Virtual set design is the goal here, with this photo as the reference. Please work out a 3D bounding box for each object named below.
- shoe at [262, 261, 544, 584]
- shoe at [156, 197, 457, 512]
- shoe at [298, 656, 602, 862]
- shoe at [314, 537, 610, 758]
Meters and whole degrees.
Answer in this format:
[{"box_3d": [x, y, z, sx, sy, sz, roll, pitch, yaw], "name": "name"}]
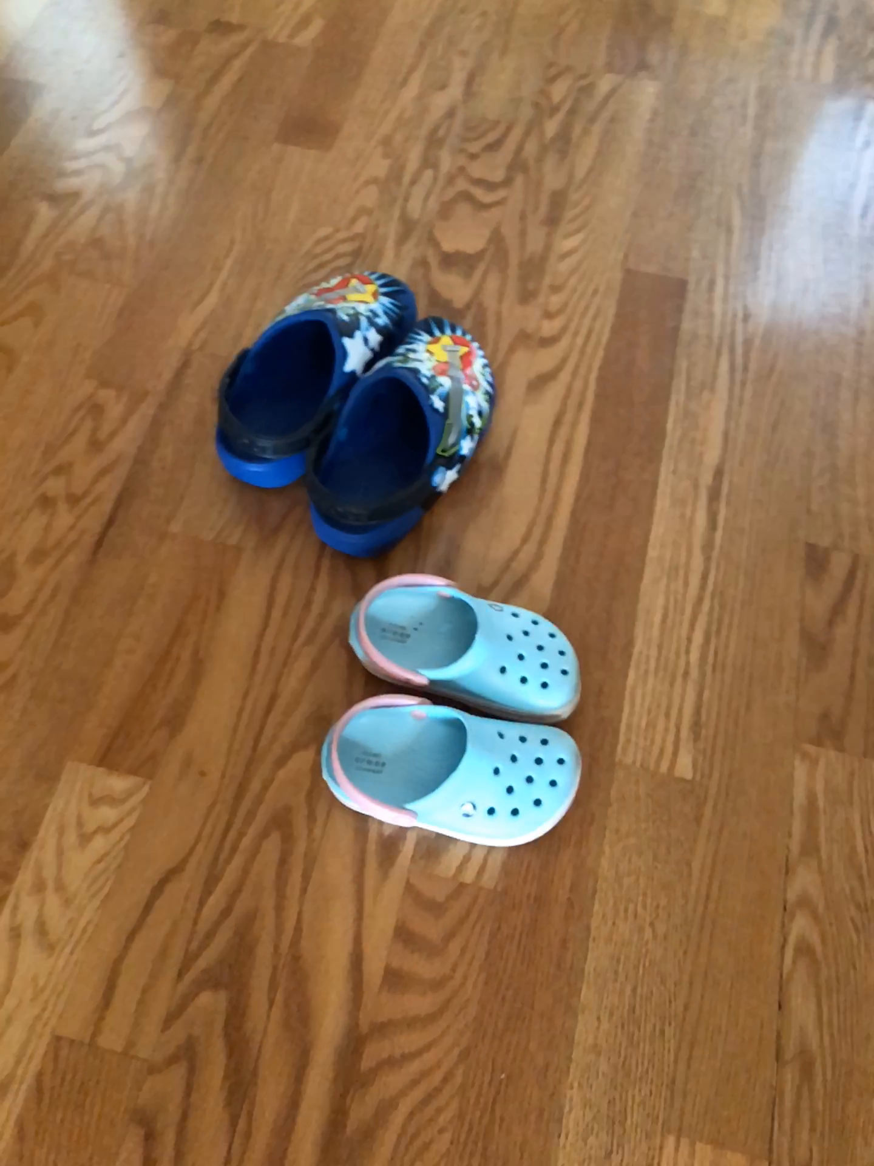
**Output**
[{"box_3d": [-0.019, -0.124, 0.712, 0.110, 0.070, 0.221, 24, 63, 12], "name": "shoe"}, {"box_3d": [-0.091, -0.180, 0.736, 0.110, 0.070, 0.231, 27, 63, 14], "name": "shoe"}, {"box_3d": [0.010, 0.108, 0.594, 0.170, 0.050, 0.090, 8, 61, 3], "name": "shoe"}, {"box_3d": [0.017, 0.041, 0.634, 0.170, 0.050, 0.090, 15, 61, 7], "name": "shoe"}]
